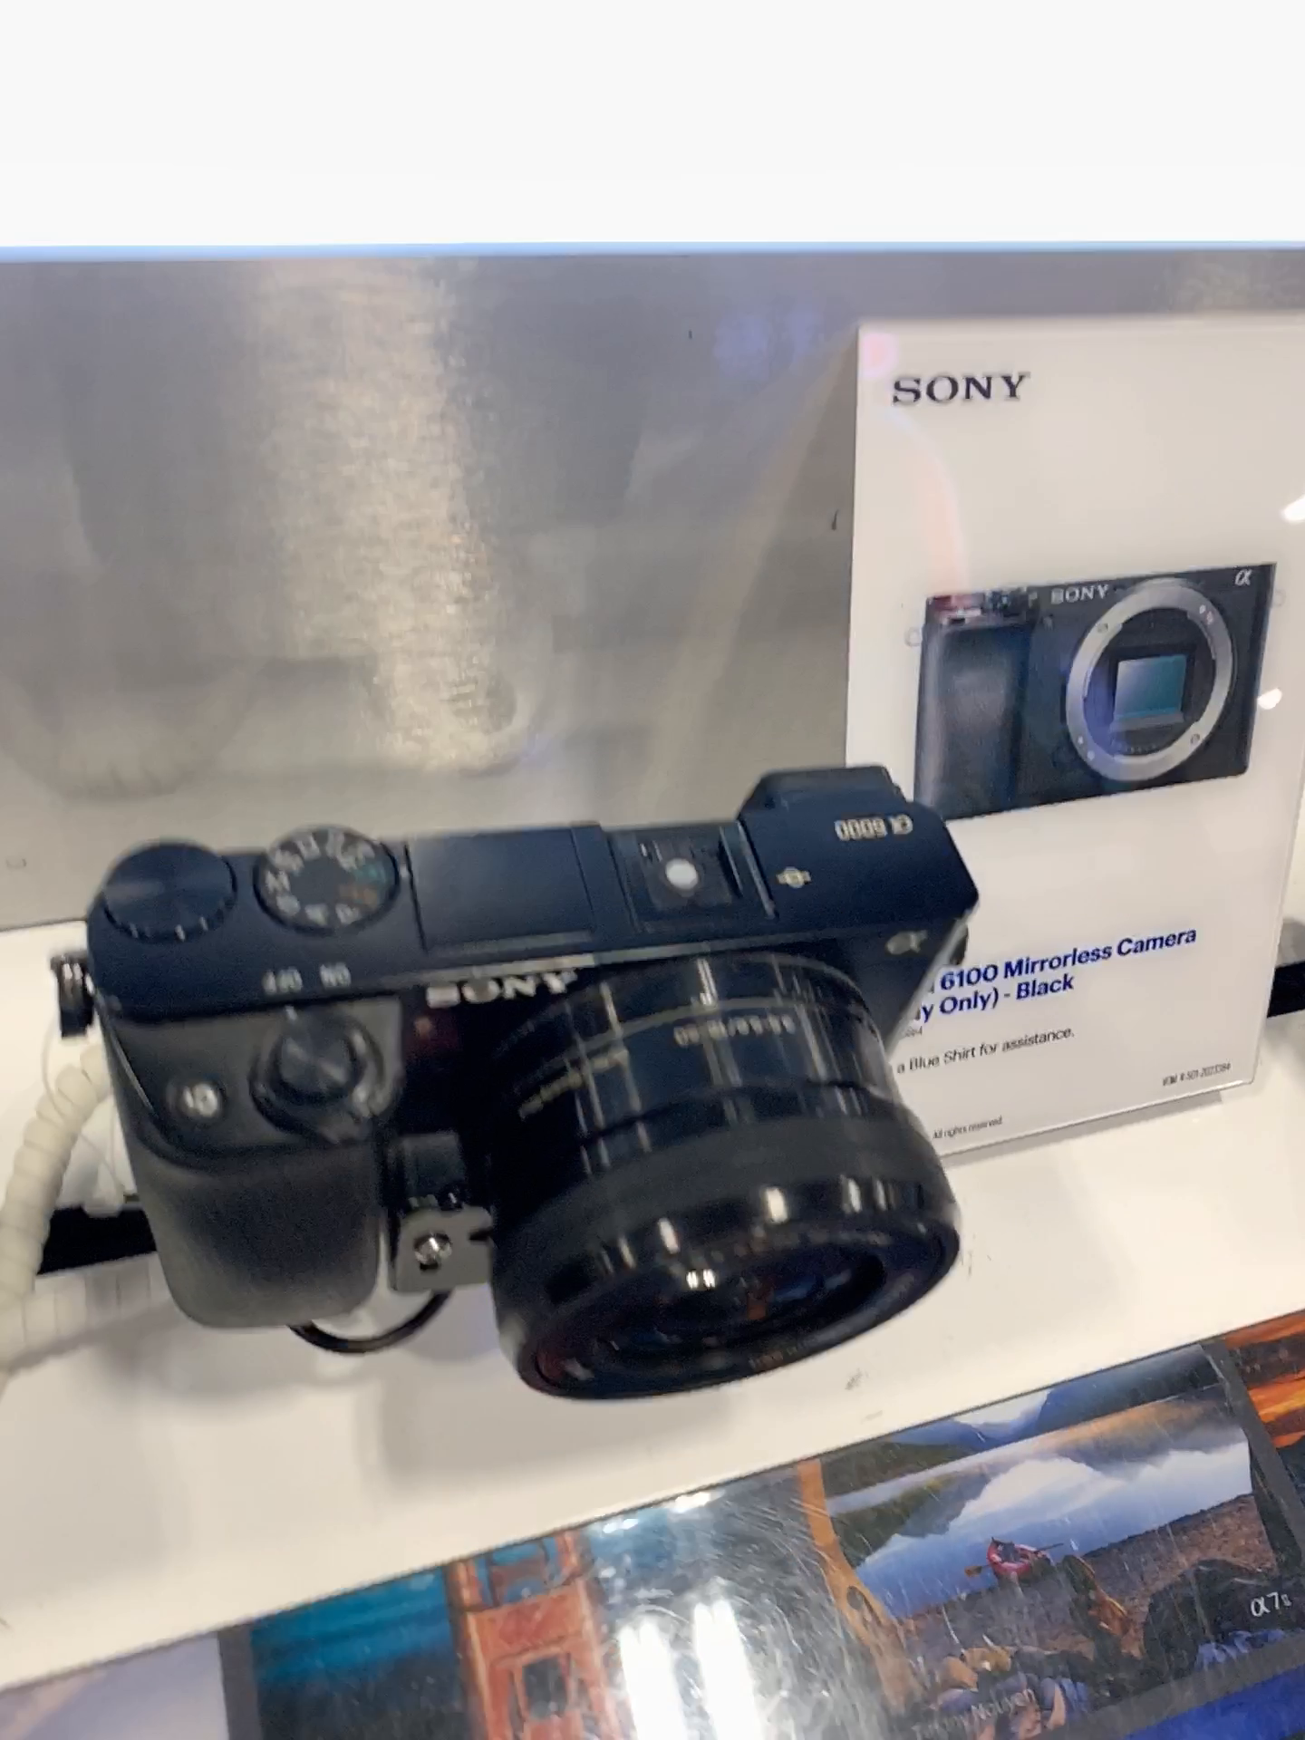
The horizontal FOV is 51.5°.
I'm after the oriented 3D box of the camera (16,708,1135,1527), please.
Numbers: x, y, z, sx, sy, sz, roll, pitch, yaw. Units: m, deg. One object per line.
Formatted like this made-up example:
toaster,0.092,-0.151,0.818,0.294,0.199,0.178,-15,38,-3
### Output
camera,-0.015,0.032,0.188,0.120,0.074,0.065,-7,51,-16
